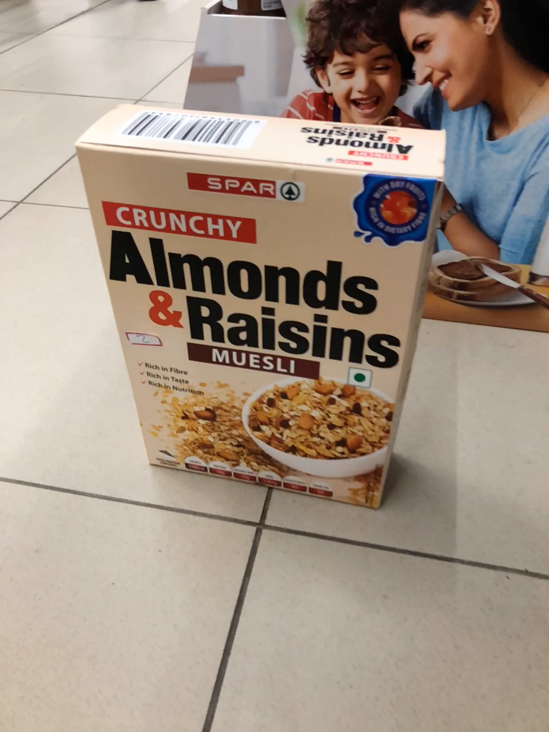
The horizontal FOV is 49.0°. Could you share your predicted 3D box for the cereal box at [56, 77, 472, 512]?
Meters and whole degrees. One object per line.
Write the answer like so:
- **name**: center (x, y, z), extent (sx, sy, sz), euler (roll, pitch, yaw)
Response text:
- **cereal box**: center (-0.002, -0.028, 0.354), extent (0.180, 0.238, 0.060), euler (8, 41, 10)
